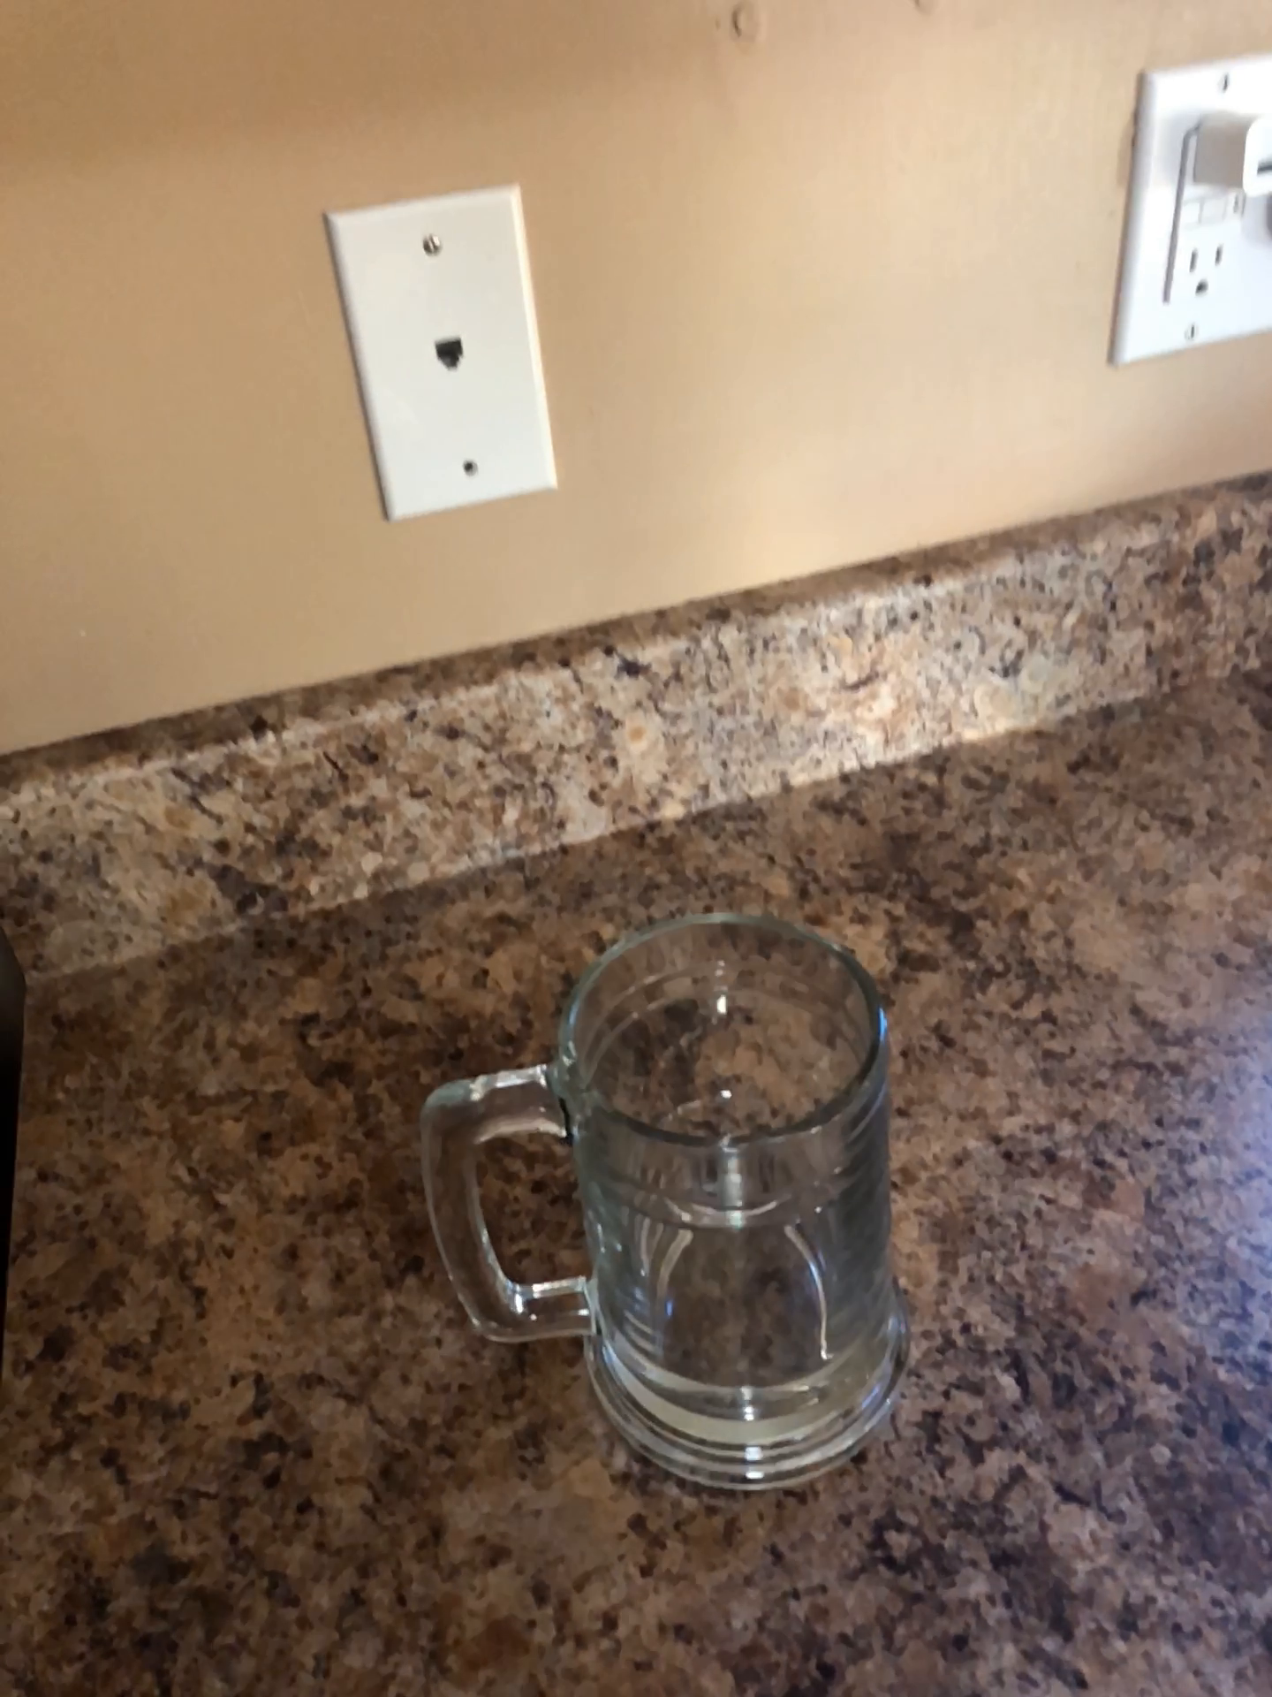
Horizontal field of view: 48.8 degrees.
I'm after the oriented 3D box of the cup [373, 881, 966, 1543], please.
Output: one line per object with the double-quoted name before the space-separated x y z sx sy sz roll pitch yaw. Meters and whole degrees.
"cup" 0.011 0.101 0.387 0.130 0.139 0.100 -6 36 1
